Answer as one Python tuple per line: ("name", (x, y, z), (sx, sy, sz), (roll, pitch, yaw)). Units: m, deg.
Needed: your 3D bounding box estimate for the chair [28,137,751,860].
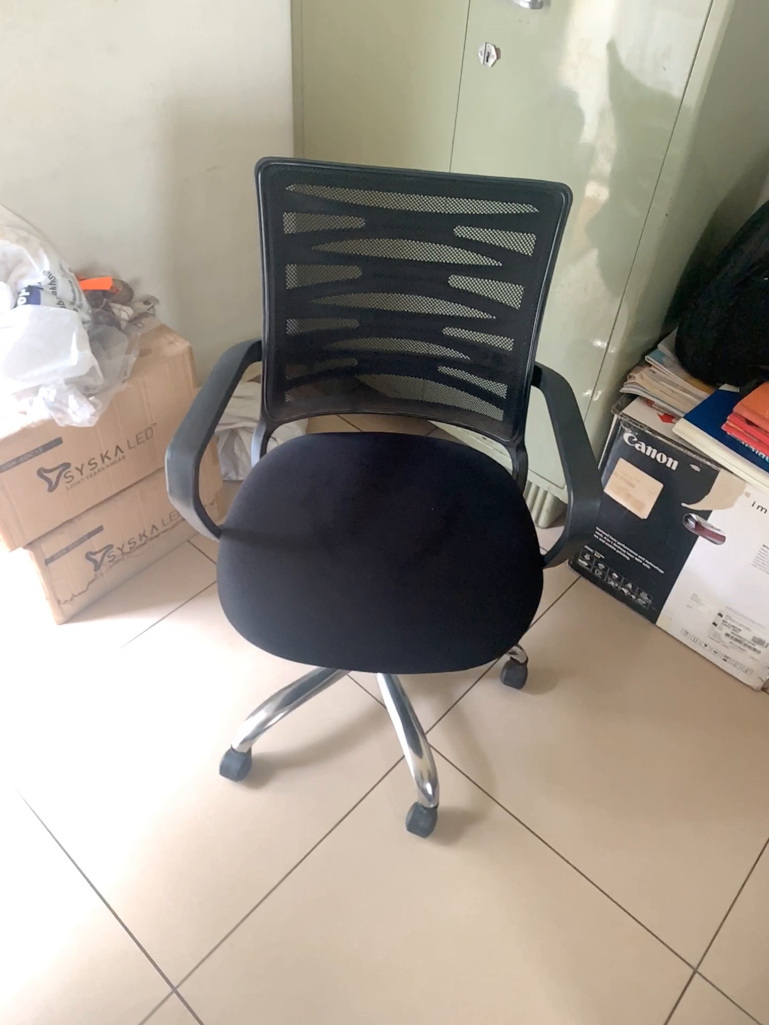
("chair", (-0.012, 0.036, 1.318), (0.680, 0.996, 0.652), (4, 45, -1))
